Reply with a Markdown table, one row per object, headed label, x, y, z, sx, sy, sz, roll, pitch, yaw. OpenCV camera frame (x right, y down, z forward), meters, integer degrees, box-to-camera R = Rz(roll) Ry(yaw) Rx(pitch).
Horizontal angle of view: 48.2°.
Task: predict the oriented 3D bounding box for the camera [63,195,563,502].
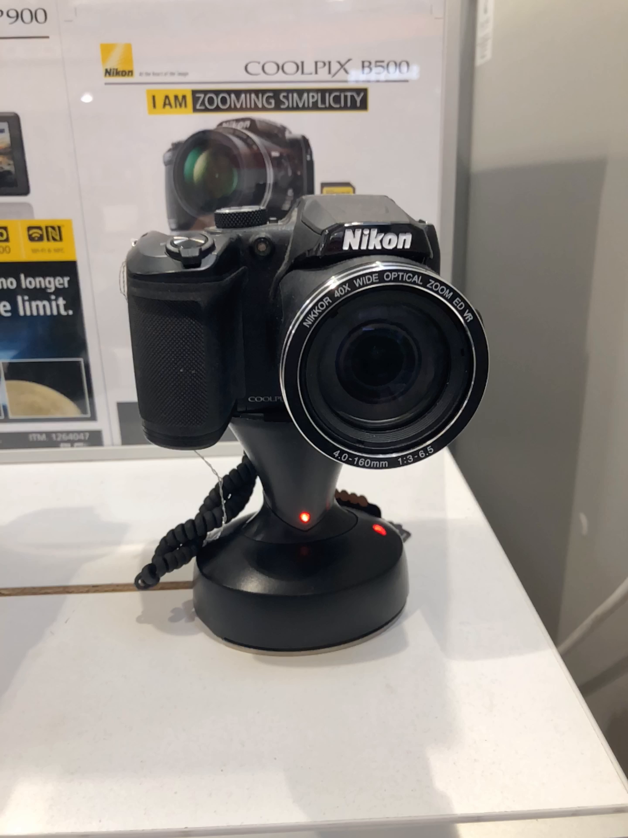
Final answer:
| label | x | y | z | sx | sy | sz | roll | pitch | yaw |
| --- | --- | --- | --- | --- | --- | --- | --- | --- | --- |
| camera | -0.003 | -0.032 | 0.226 | 0.120 | 0.070 | 0.101 | -3 | 20 | -5 |
